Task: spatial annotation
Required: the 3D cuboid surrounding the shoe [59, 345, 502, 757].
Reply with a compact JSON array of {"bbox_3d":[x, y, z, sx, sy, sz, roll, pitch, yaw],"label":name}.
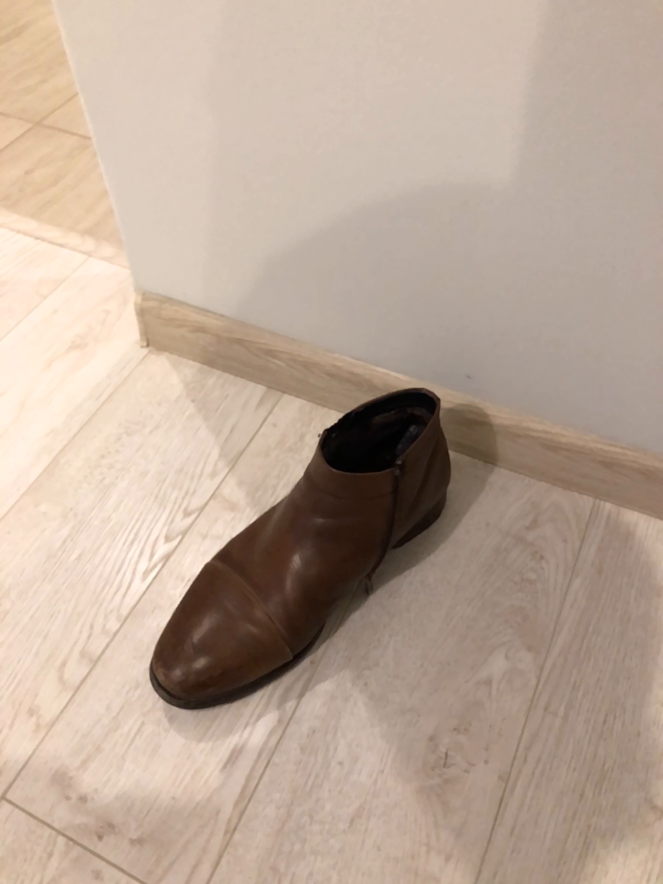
[{"bbox_3d":[-0.025,0.070,0.564,0.311,0.109,0.120,-36,59,-24],"label":"shoe"}]
